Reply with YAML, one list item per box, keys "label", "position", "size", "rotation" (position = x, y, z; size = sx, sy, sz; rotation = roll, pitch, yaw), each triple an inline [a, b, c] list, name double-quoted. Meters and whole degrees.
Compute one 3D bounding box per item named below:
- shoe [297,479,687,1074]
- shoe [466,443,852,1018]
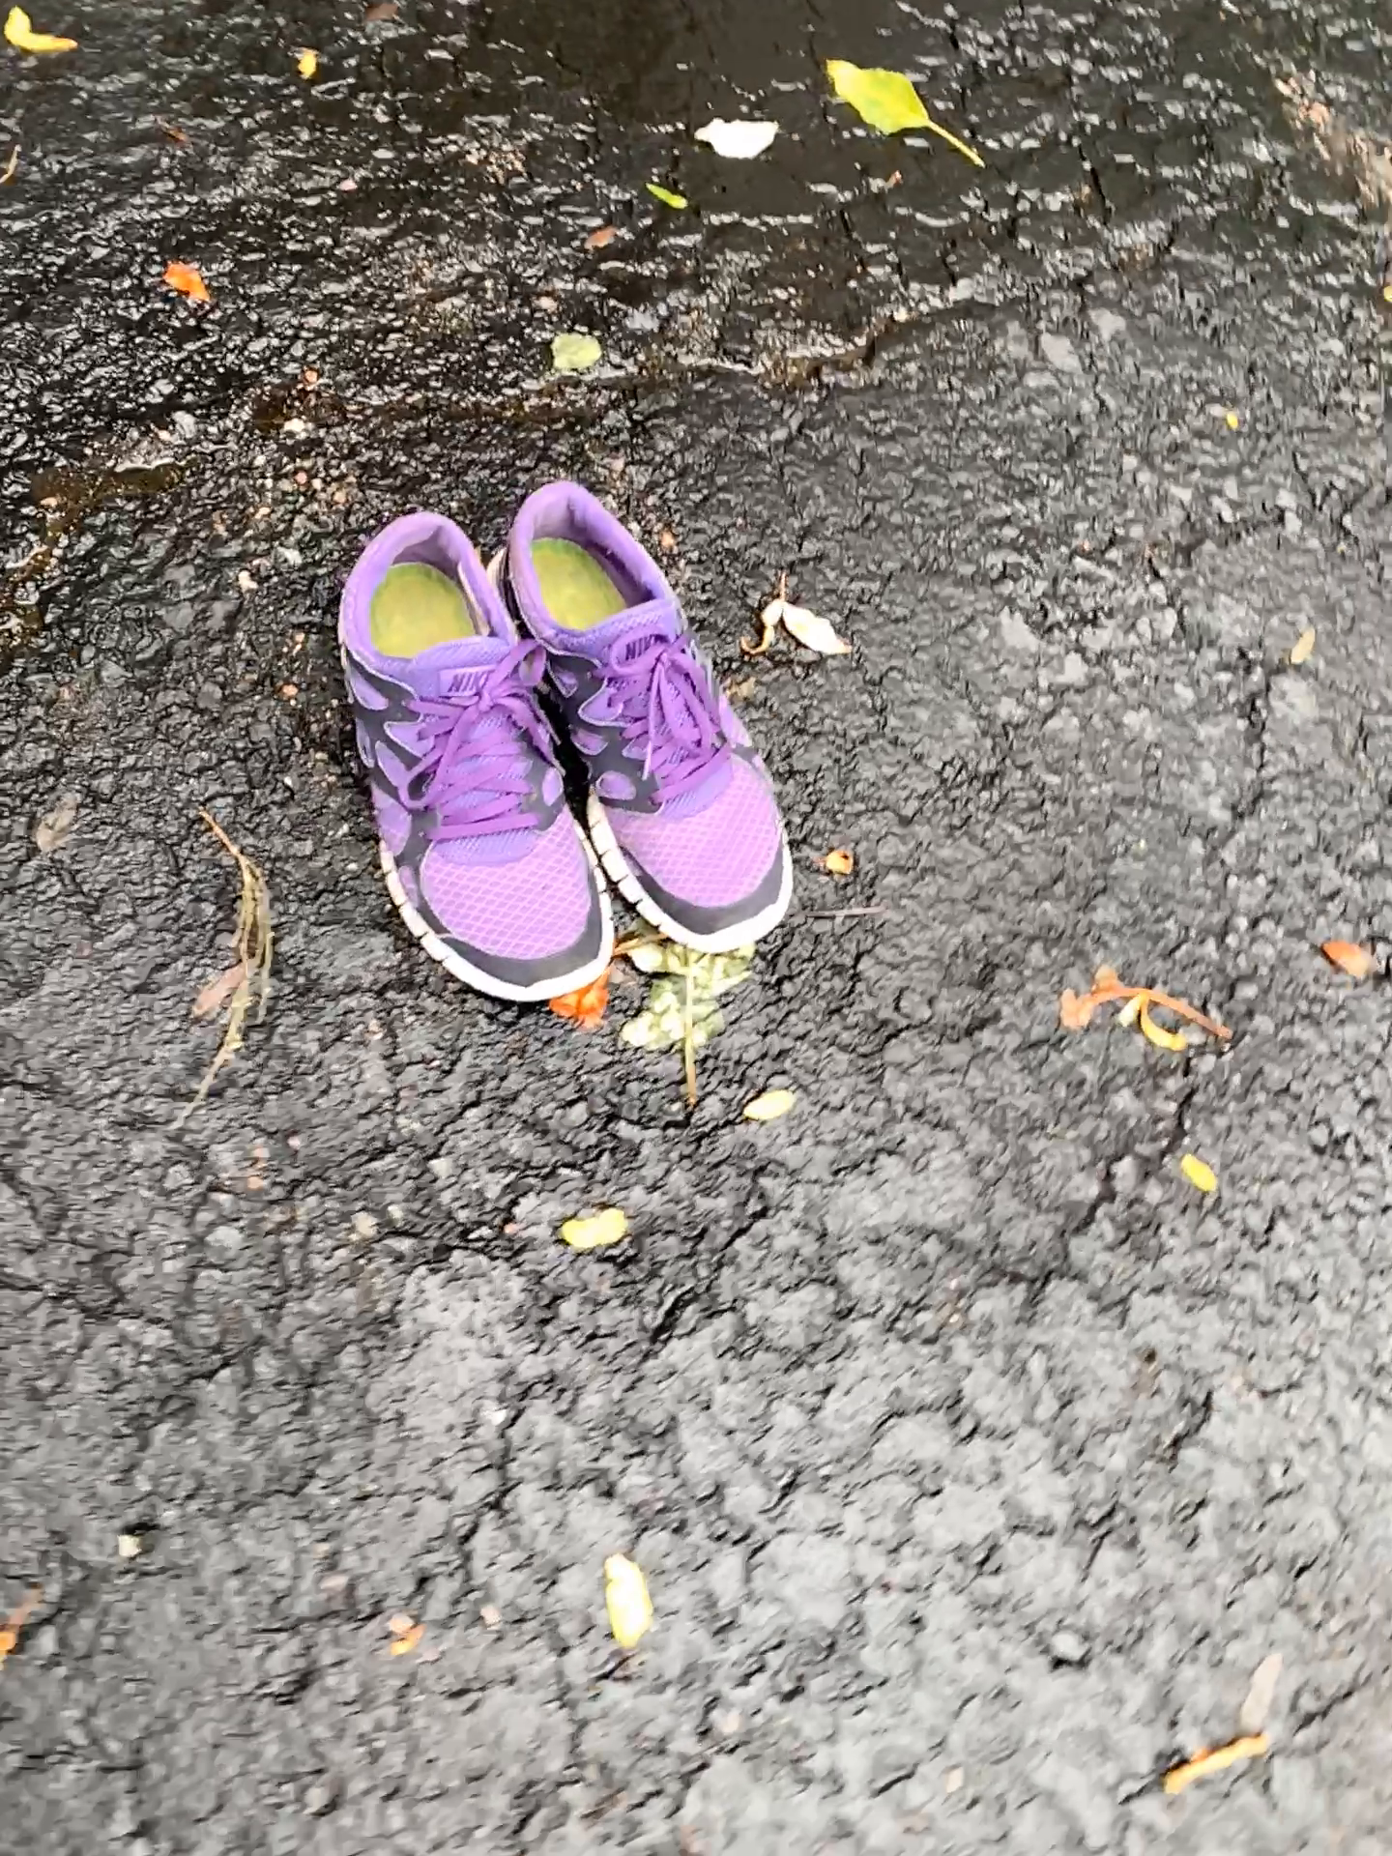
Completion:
- label: "shoe"
  position: [-0.119, -0.085, 0.788]
  size: [0.110, 0.090, 0.300]
  rotation: [-18, 78, -17]
- label: "shoe"
  position: [-0.029, -0.114, 0.828]
  size: [0.110, 0.100, 0.300]
  rotation: [-18, 82, -17]
